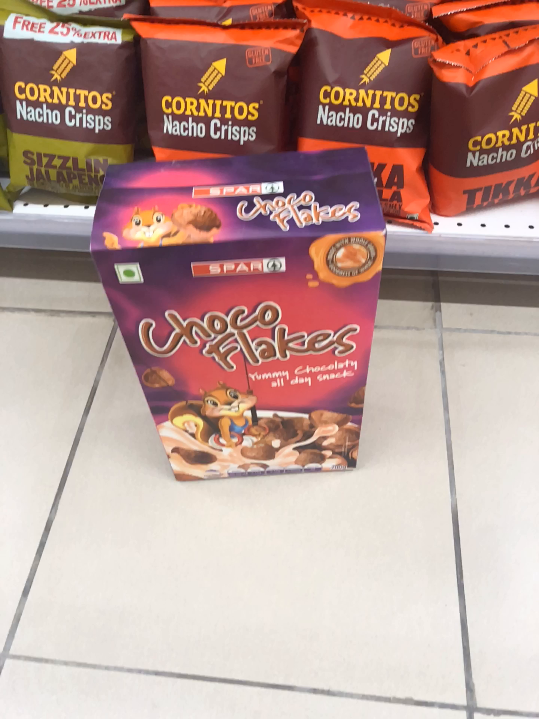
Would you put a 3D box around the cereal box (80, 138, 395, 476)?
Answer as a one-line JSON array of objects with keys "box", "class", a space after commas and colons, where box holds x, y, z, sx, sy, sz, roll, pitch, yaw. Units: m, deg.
[{"box": [-0.015, -0.016, 0.540, 0.200, 0.340, 0.090, -4, 54, 0], "class": "cereal box"}]
